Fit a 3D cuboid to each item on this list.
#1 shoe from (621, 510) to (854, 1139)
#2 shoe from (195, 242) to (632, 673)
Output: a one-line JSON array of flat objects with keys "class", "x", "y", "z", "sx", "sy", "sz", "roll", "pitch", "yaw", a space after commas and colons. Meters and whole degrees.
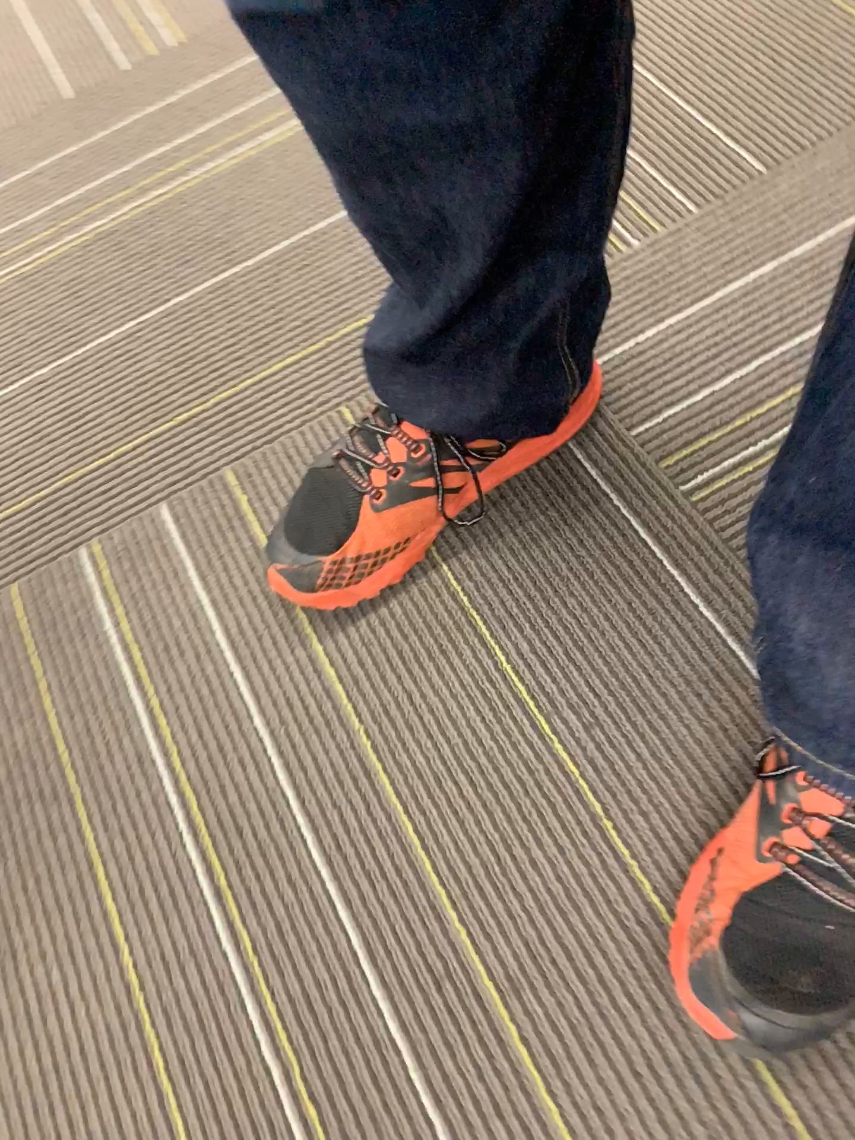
[{"class": "shoe", "x": 0.243, "y": 0.132, "z": 0.492, "sx": 0.130, "sy": 0.100, "sz": 0.300, "roll": 29, "pitch": 73, "yaw": 23}, {"class": "shoe", "x": 0.001, "y": -0.088, "z": 0.676, "sx": 0.320, "sy": 0.120, "sz": 0.120, "roll": -41, "pitch": 63, "yaw": -10}]
